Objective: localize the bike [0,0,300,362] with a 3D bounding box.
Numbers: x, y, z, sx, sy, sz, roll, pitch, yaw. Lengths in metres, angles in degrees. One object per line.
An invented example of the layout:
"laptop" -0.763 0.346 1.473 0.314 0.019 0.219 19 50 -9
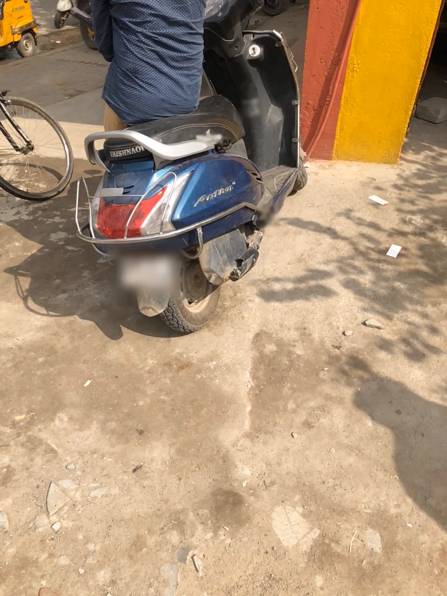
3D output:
"bike" -0.144 -0.765 2.291 0.624 1.187 1.644 11 39 11
